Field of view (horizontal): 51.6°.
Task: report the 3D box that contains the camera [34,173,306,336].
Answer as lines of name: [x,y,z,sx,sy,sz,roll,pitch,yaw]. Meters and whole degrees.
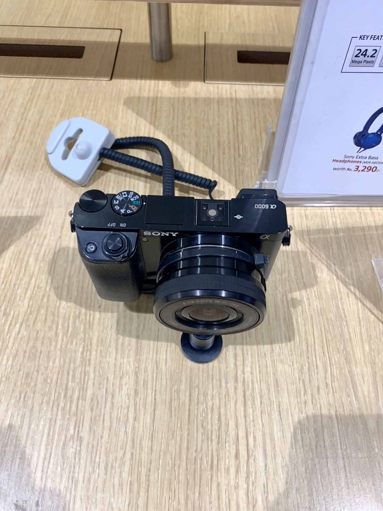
camera: [-0.010,0.002,0.238,0.130,0.070,0.070,1,59,0]
